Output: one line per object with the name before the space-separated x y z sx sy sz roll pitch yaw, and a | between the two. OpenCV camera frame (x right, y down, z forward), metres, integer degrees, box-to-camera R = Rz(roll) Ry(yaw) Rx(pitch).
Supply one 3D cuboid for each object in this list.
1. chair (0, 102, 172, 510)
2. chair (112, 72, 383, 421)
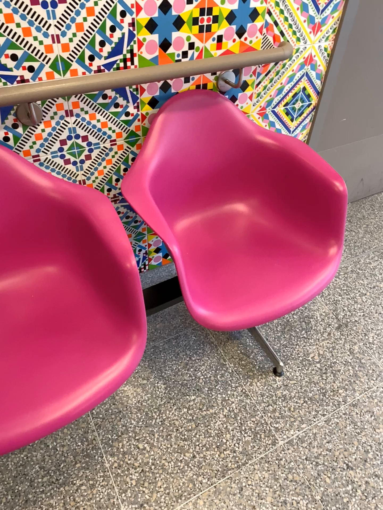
chair | -0.416 0.160 0.960 0.521 0.763 0.604 -19 49 -21
chair | 0.143 -0.034 1.206 0.521 0.763 0.604 -19 49 -21
